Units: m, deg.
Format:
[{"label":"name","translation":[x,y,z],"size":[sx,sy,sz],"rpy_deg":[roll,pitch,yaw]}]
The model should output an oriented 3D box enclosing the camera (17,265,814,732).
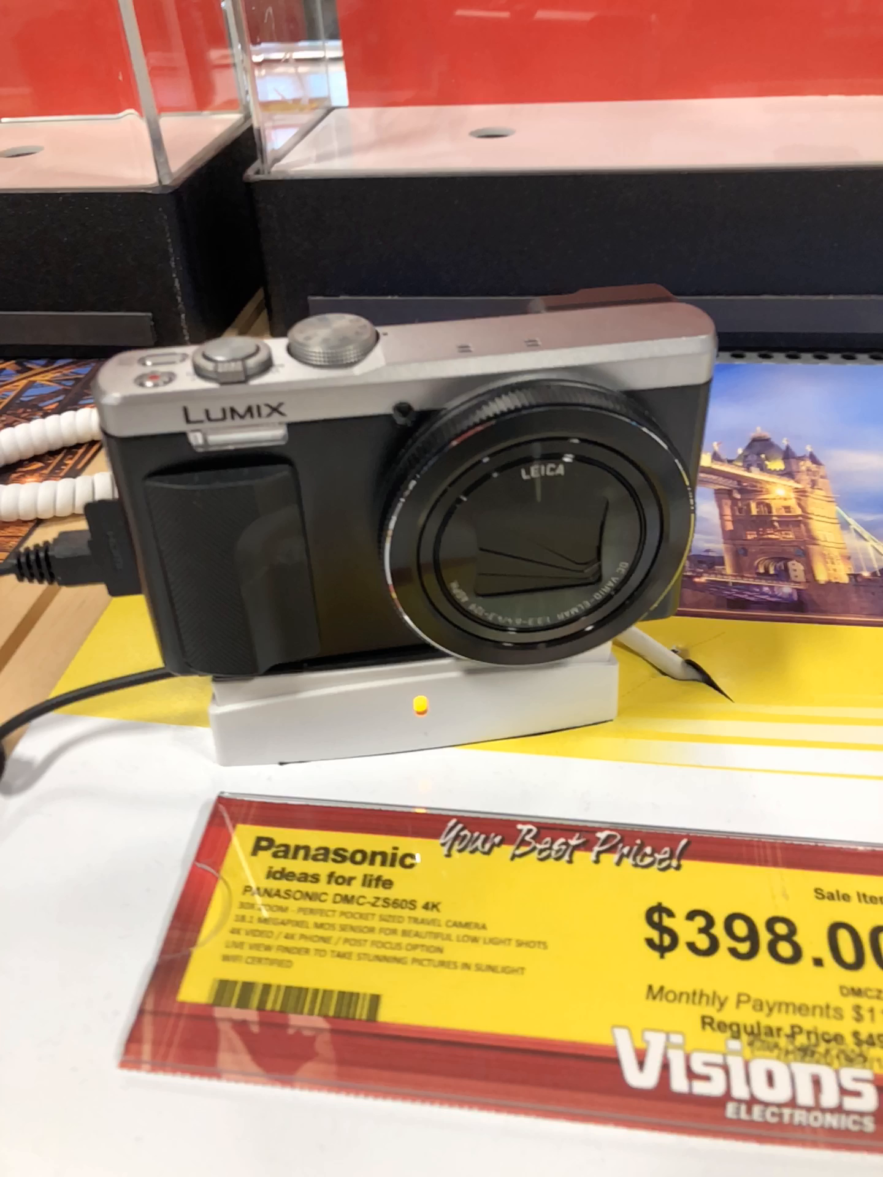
[{"label":"camera","translation":[-0.003,-0.017,0.180],"size":[0.120,0.060,0.040],"rpy_deg":[-7,37,-4]}]
